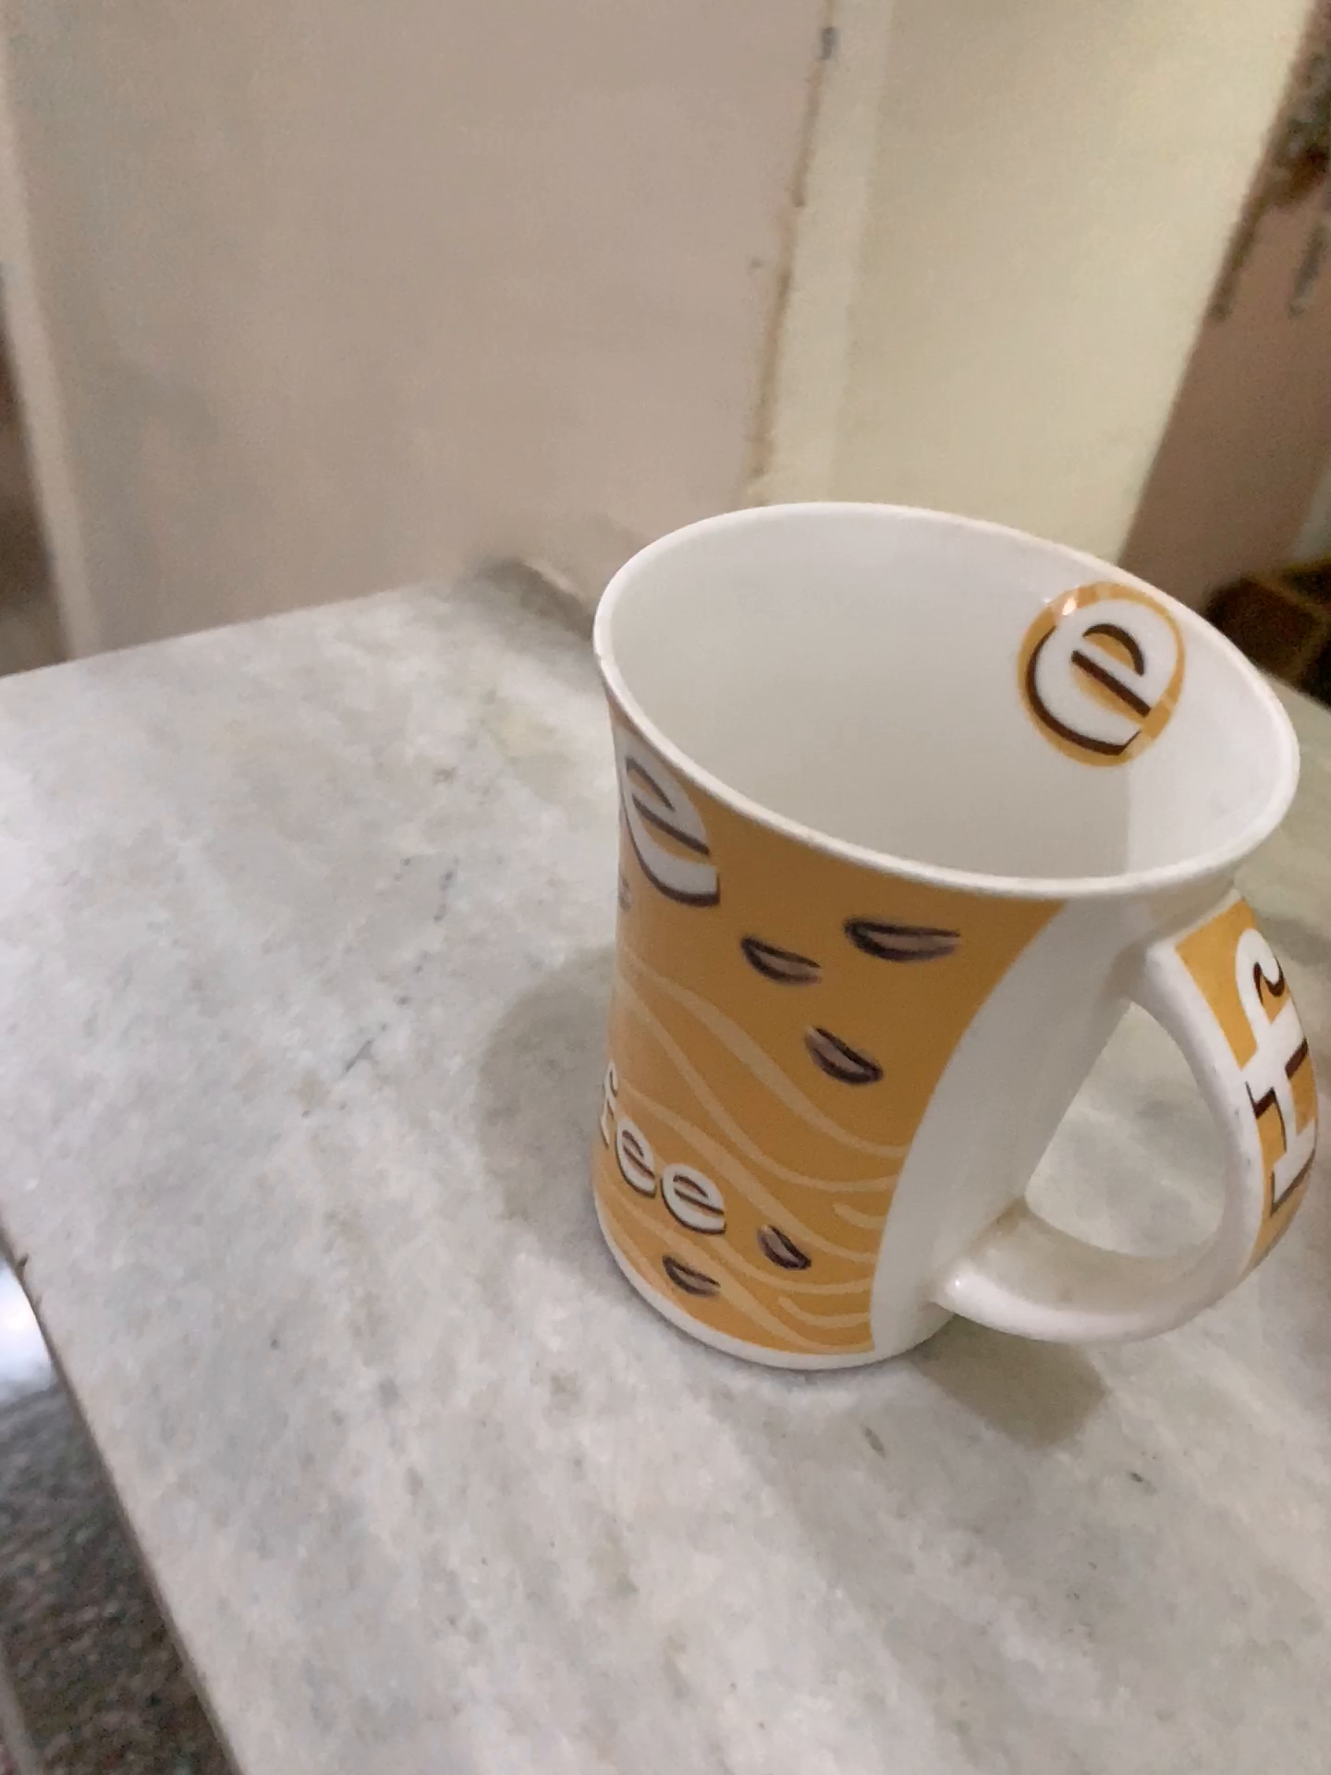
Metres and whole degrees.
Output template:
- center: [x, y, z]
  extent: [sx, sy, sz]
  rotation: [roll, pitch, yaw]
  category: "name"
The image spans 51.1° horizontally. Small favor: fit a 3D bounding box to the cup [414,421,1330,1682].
- center: [0.031, 0.013, 0.180]
  extent: [0.080, 0.100, 0.100]
  rotation: [-28, 52, -37]
  category: "cup"
